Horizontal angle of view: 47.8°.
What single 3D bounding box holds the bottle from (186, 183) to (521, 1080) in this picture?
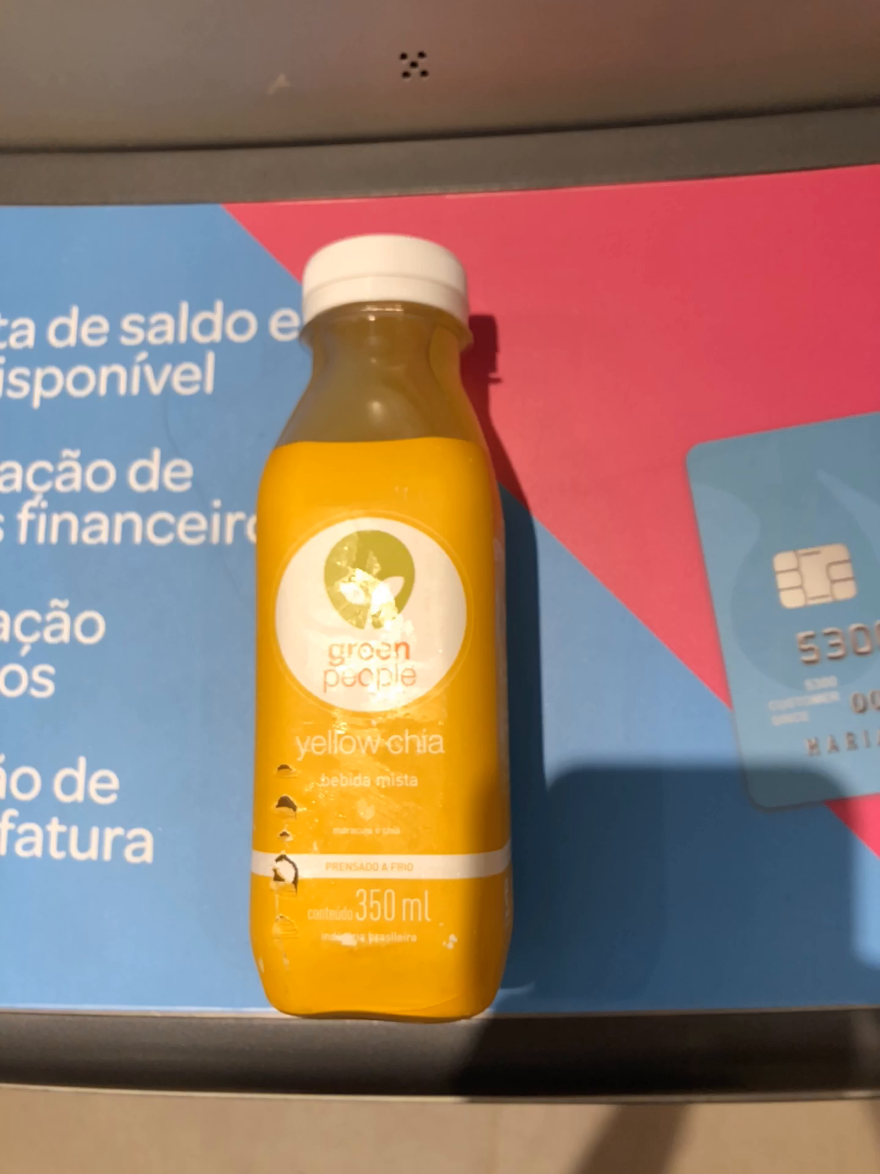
[{"bbox_3d":[-0.014,0.007,0.232,0.060,0.060,0.180,0,82,8],"label":"bottle"}]
